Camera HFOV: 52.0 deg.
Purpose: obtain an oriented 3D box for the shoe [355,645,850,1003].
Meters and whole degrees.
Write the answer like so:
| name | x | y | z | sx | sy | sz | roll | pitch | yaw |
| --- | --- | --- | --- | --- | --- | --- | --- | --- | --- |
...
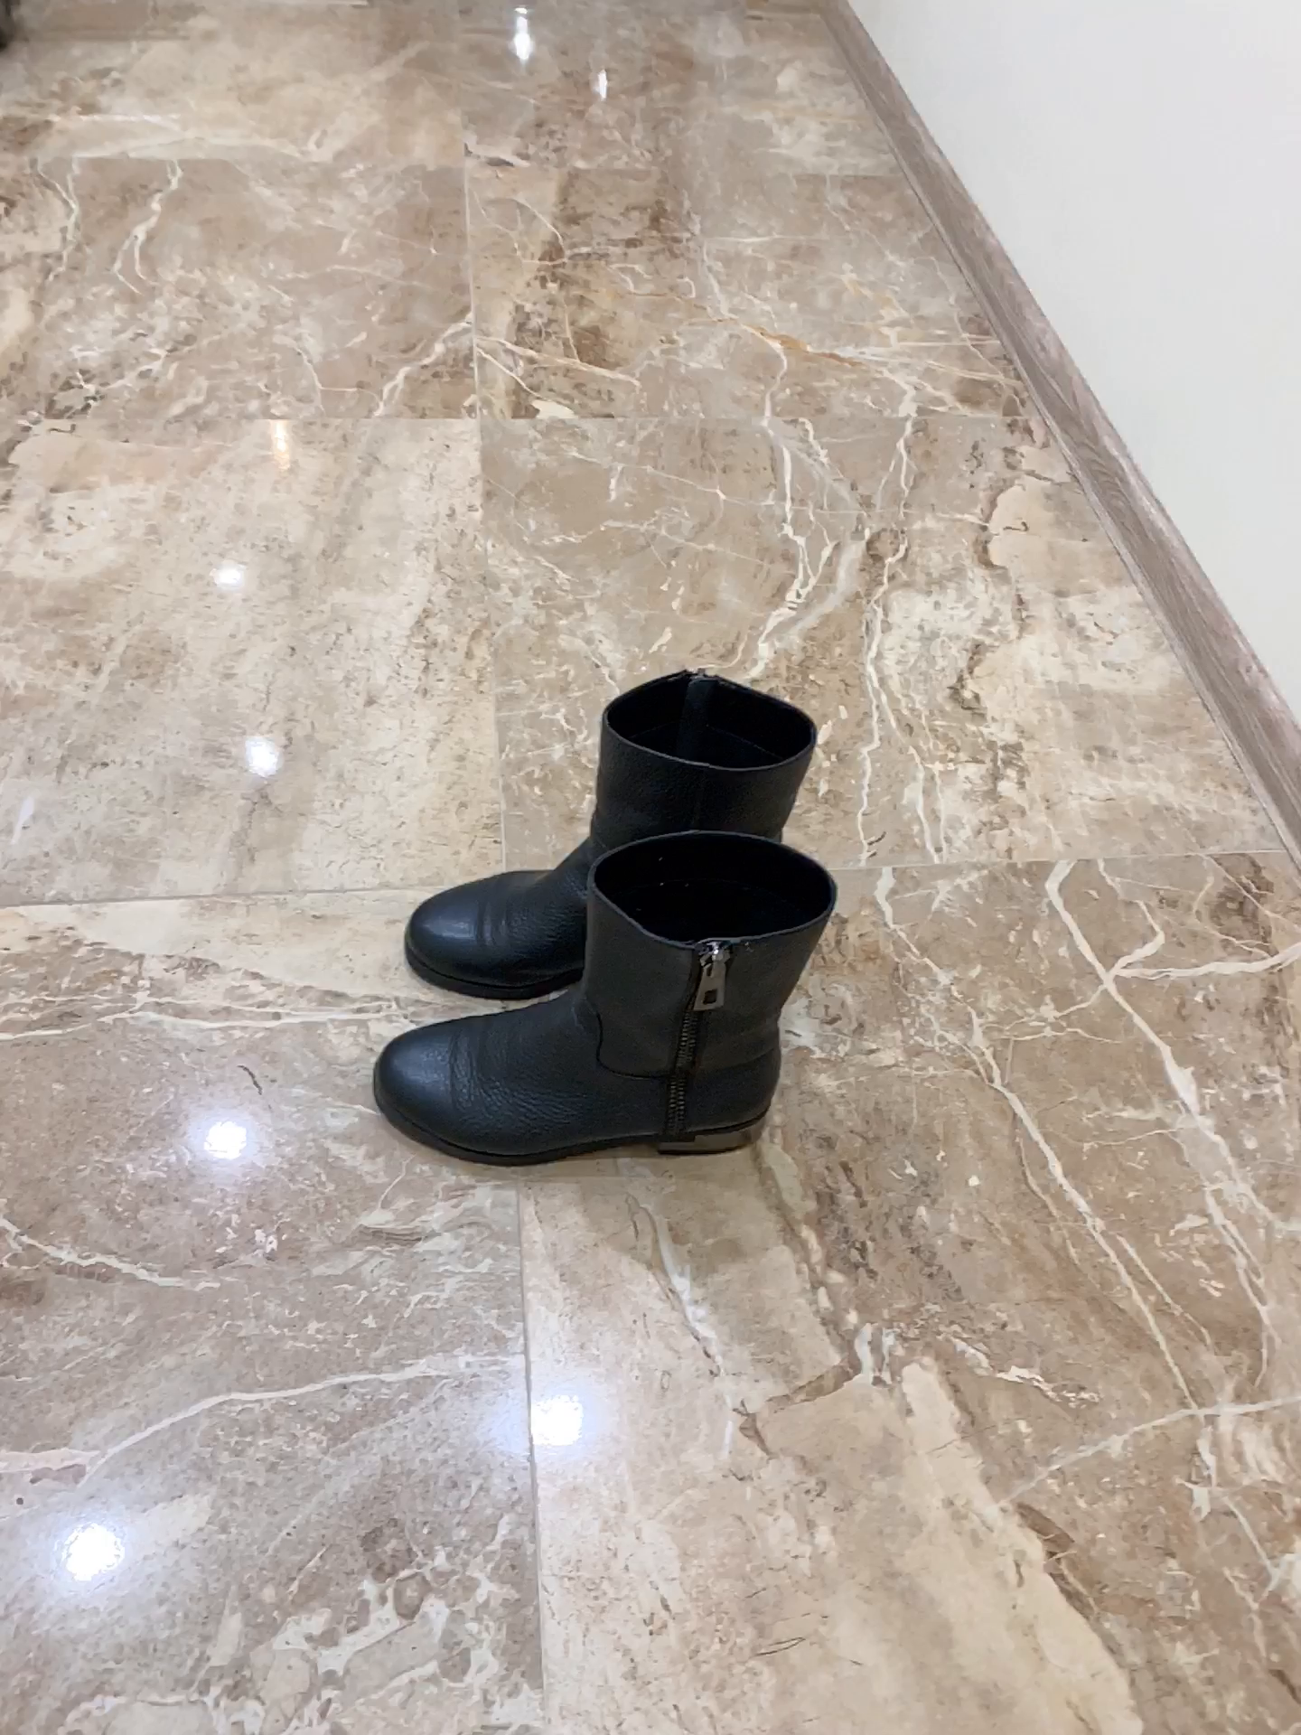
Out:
| name | x | y | z | sx | sy | sz | roll | pitch | yaw |
| --- | --- | --- | --- | --- | --- | --- | --- | --- | --- |
| shoe | -0.031 | -0.019 | 0.808 | 0.260 | 0.209 | 0.090 | 2 | 49 | -3 |

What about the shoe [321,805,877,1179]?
| name | x | y | z | sx | sy | sz | roll | pitch | yaw |
| --- | --- | --- | --- | --- | --- | --- | --- | --- | --- |
| shoe | -0.029 | 0.076 | 0.732 | 0.260 | 0.209 | 0.090 | 2 | 49 | -3 |
